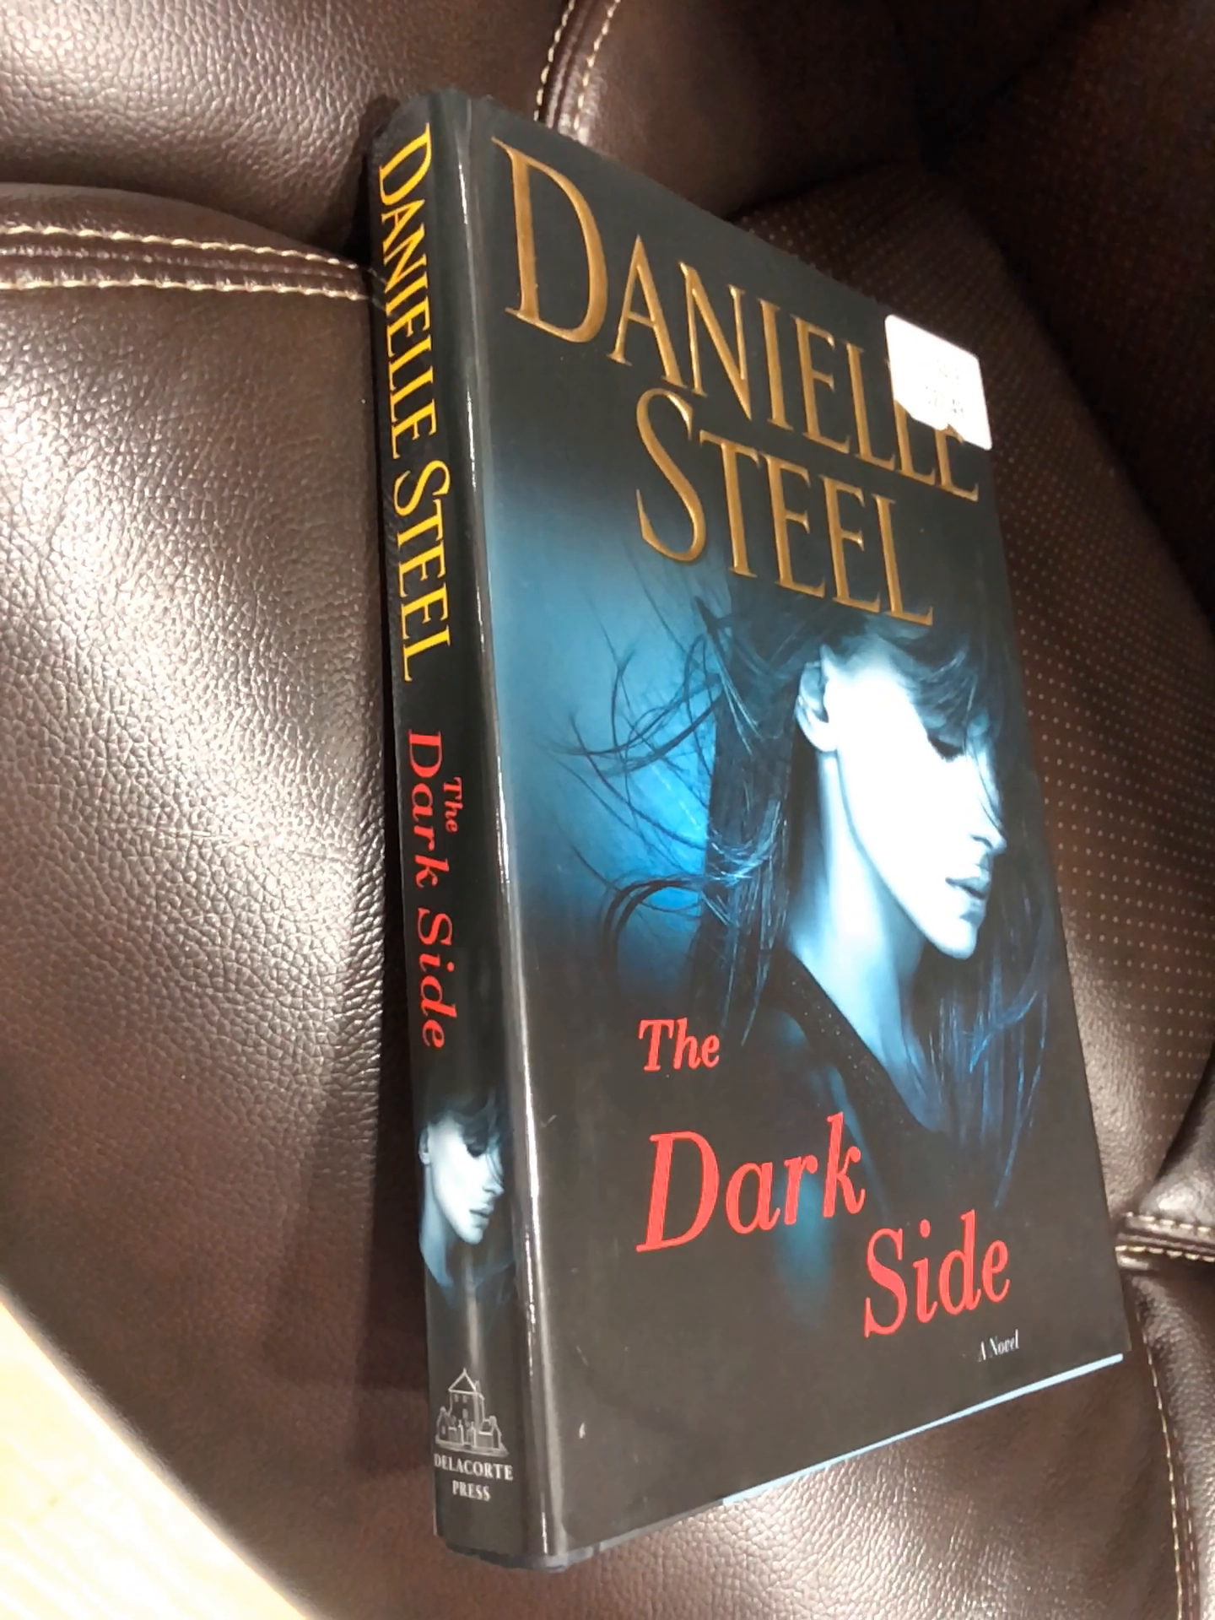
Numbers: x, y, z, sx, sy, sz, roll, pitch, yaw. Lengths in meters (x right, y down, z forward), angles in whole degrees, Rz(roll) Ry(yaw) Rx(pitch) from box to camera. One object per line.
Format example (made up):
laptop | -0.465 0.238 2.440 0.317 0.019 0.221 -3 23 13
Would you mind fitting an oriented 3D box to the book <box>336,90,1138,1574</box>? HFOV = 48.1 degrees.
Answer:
book | 0.032 0.001 0.283 0.169 0.040 0.237 6 75 -41
